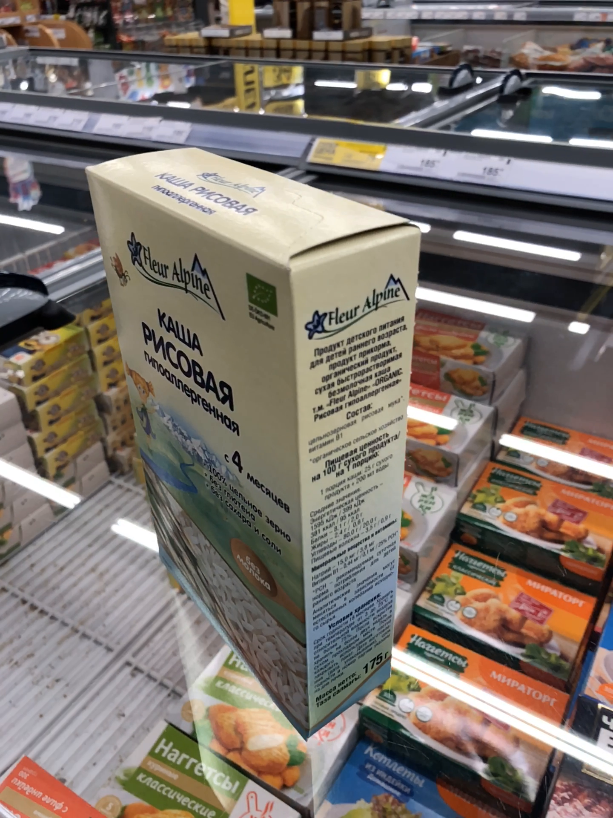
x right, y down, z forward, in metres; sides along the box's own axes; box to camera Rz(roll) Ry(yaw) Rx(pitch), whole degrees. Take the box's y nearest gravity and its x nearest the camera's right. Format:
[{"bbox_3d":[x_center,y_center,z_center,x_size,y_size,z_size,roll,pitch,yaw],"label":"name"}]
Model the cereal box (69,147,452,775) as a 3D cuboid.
[{"bbox_3d":[-0.021,0.017,0.265,0.050,0.199,0.141,-23,38,-30],"label":"cereal box"}]
